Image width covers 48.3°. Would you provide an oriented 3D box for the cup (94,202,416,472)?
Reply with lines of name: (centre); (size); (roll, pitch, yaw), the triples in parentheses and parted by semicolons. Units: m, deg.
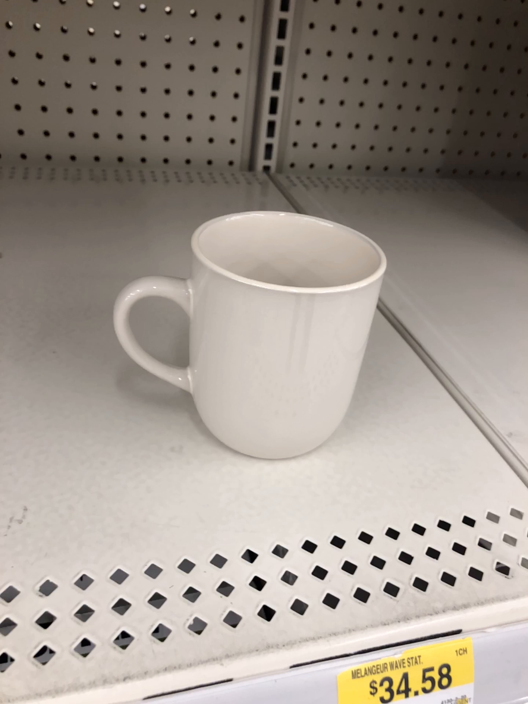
cup: (-0.011, -0.009, 0.278); (0.121, 0.090, 0.087); (1, 31, -10)
